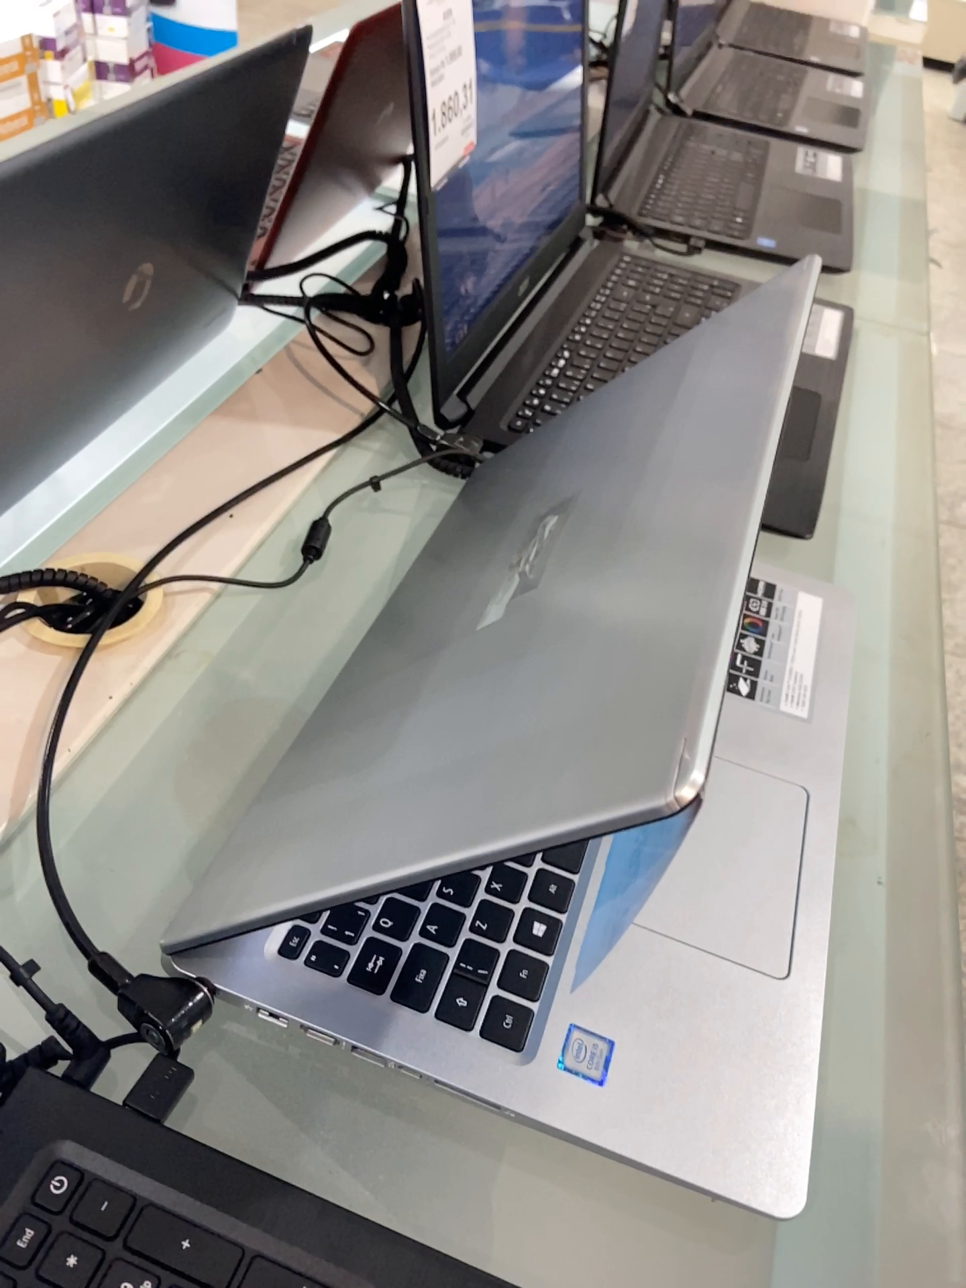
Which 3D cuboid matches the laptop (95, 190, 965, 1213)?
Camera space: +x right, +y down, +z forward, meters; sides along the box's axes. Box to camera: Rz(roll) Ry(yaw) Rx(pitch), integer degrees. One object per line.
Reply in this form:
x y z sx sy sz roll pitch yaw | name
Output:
0.059 -0.020 0.417 0.236 0.175 0.354 18 43 8 | laptop

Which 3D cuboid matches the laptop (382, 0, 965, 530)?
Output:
0.144 -0.314 0.696 0.287 0.238 0.356 19 44 9 | laptop
